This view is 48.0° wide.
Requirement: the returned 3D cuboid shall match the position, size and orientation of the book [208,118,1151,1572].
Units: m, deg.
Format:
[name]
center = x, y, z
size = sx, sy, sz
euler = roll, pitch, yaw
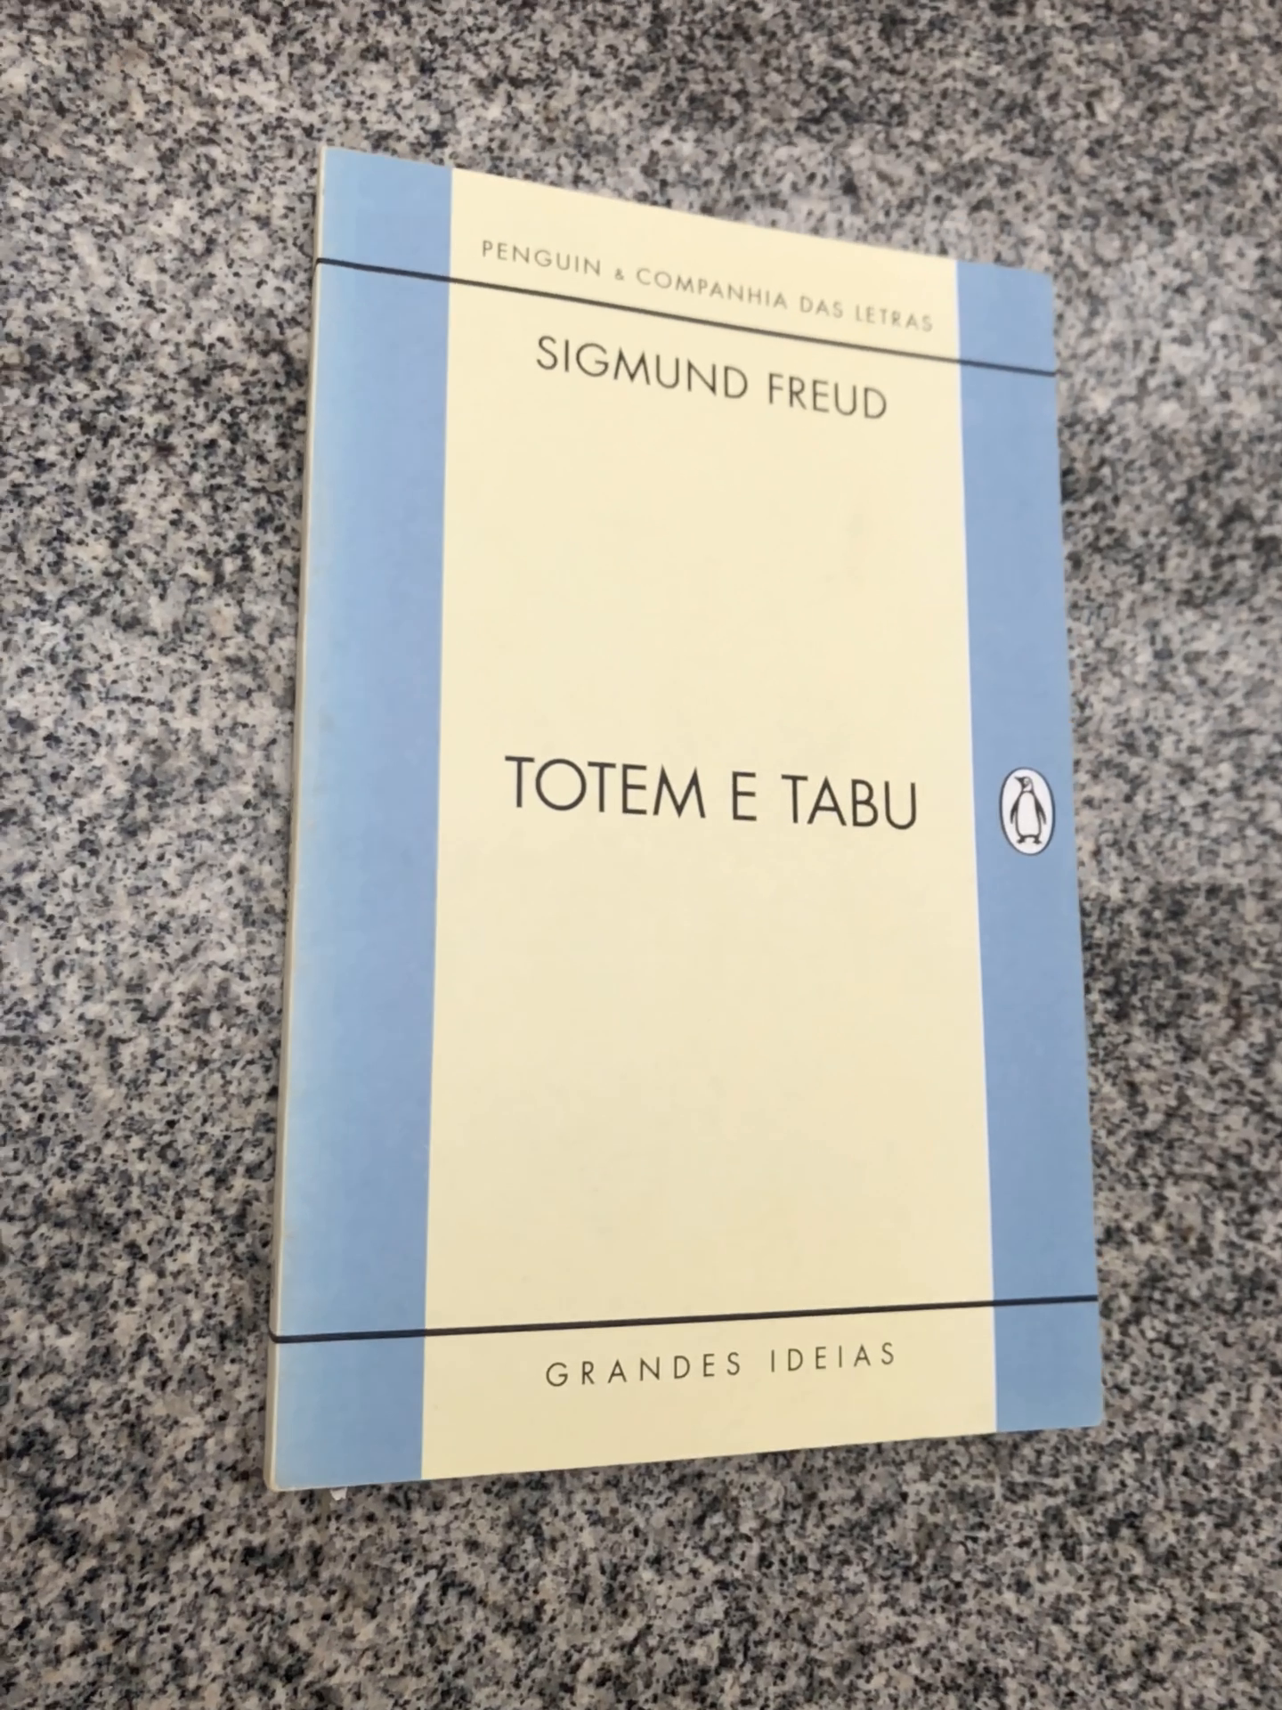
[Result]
[book]
center = 0.010, -0.005, 0.212
size = 0.130, 0.015, 0.191
euler = 3, 80, -17
